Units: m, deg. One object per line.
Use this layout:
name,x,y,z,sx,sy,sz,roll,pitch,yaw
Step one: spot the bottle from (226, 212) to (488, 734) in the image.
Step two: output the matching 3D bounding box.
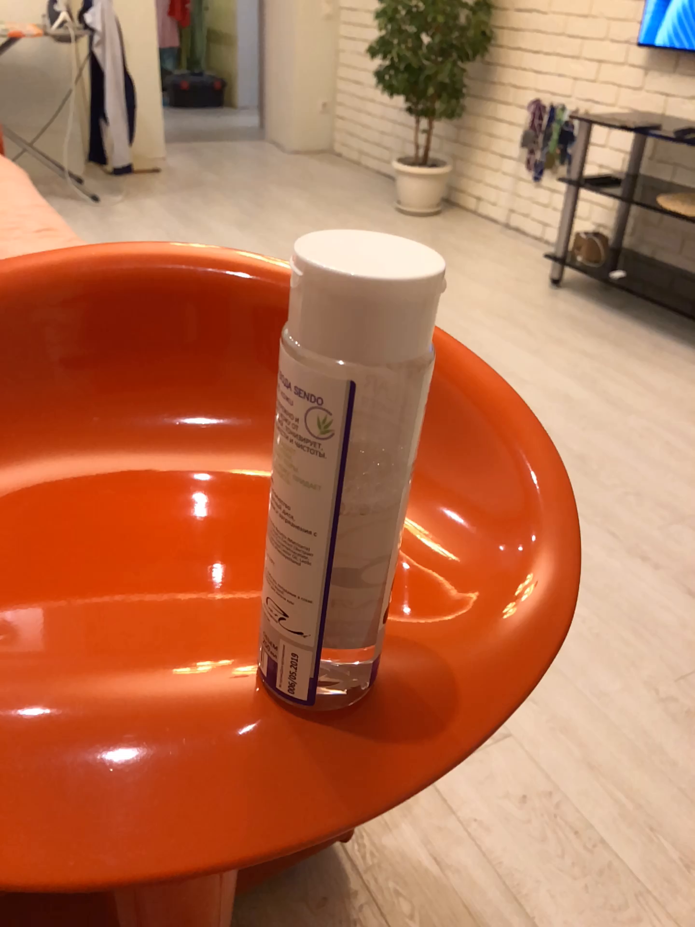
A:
bottle,-0.004,0.006,0.265,0.052,0.166,0.054,5,29,-3
